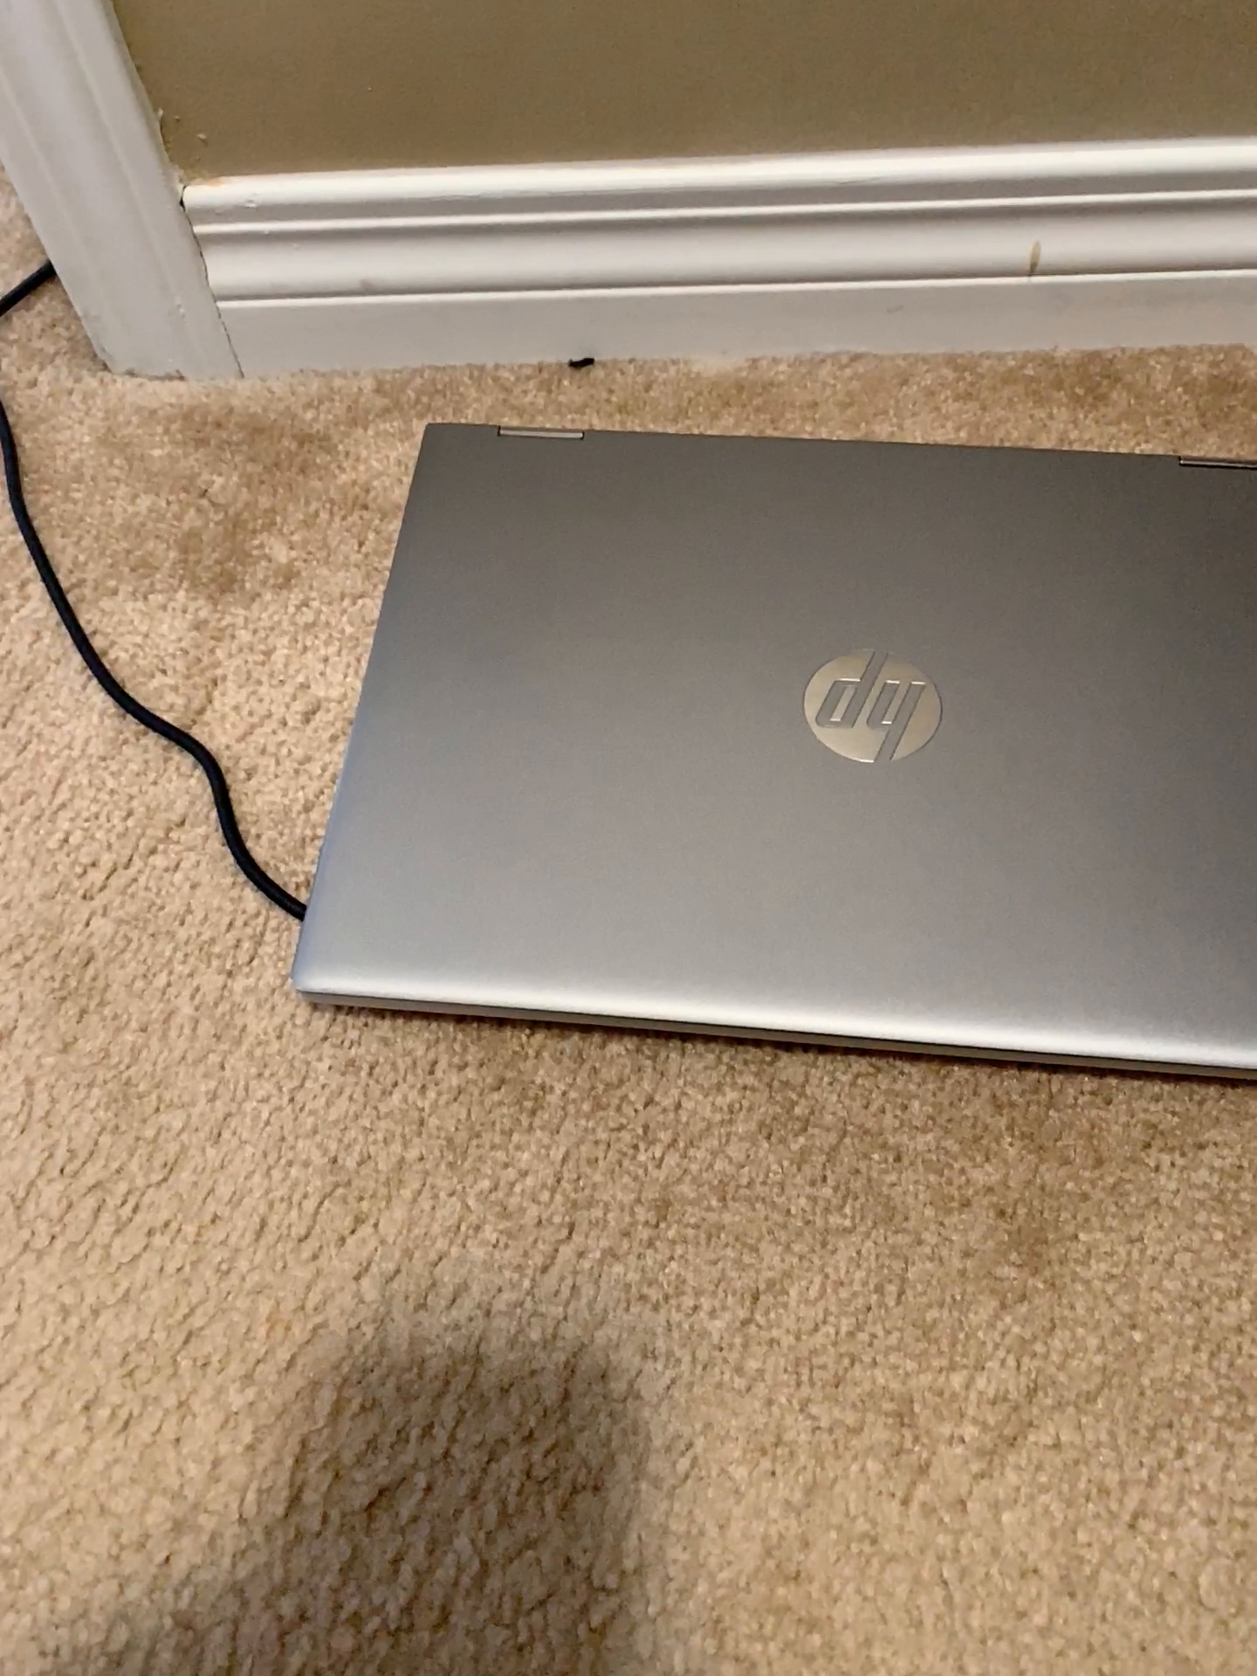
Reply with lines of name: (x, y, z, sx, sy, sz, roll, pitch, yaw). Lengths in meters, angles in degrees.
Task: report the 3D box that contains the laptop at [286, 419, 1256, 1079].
laptop: (0.078, -0.044, 0.399, 0.319, 0.001, 0.222, 4, 60, 3)
